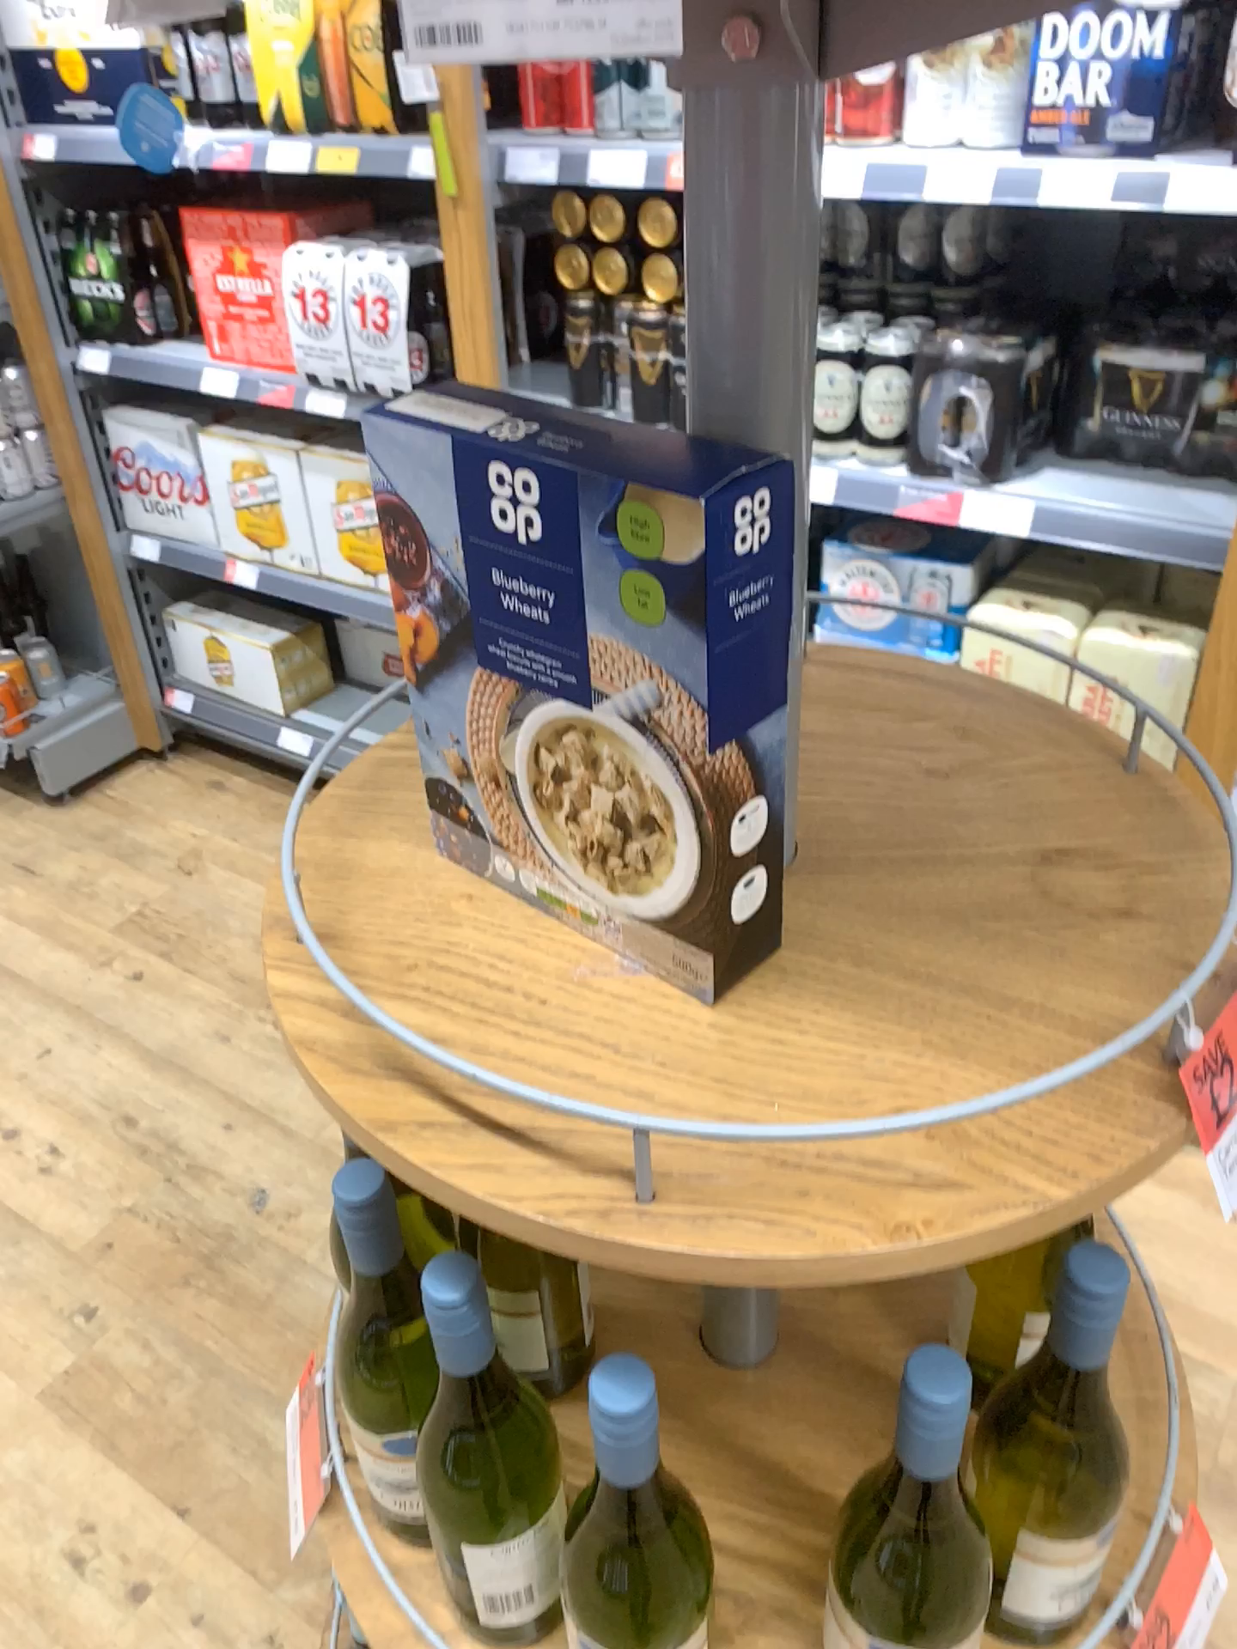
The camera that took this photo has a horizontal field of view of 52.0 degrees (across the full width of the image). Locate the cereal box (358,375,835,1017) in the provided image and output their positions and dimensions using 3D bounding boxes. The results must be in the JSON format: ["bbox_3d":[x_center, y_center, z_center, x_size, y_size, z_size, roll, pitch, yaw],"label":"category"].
[{"bbox_3d":[-0.011,-0.060,0.561,0.201,0.228,0.060,25,42,35],"label":"cereal box"}]
